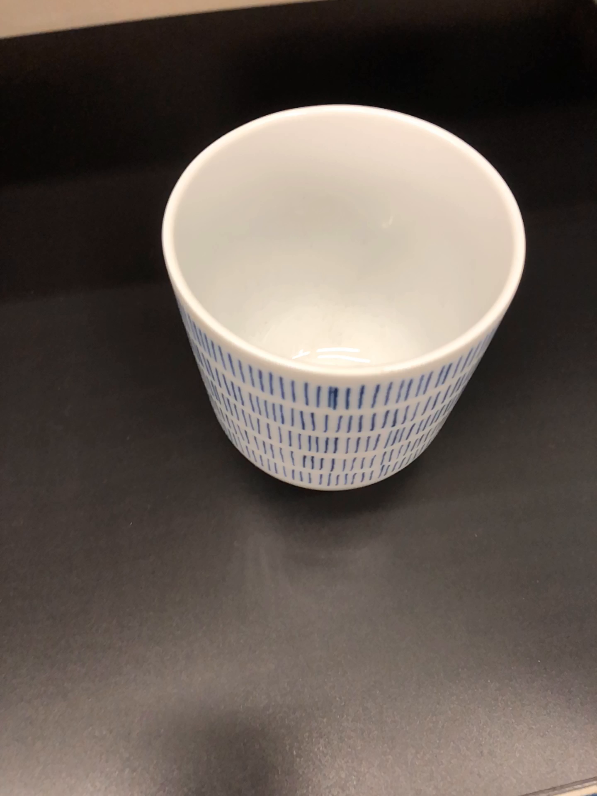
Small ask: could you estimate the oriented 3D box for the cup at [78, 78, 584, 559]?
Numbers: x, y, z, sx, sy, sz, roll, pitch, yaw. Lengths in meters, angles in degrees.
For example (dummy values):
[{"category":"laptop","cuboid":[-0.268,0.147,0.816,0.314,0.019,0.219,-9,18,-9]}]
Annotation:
[{"category":"cup","cuboid":[0.001,-0.015,0.153,0.080,0.070,0.070,-9,59,-6]}]
